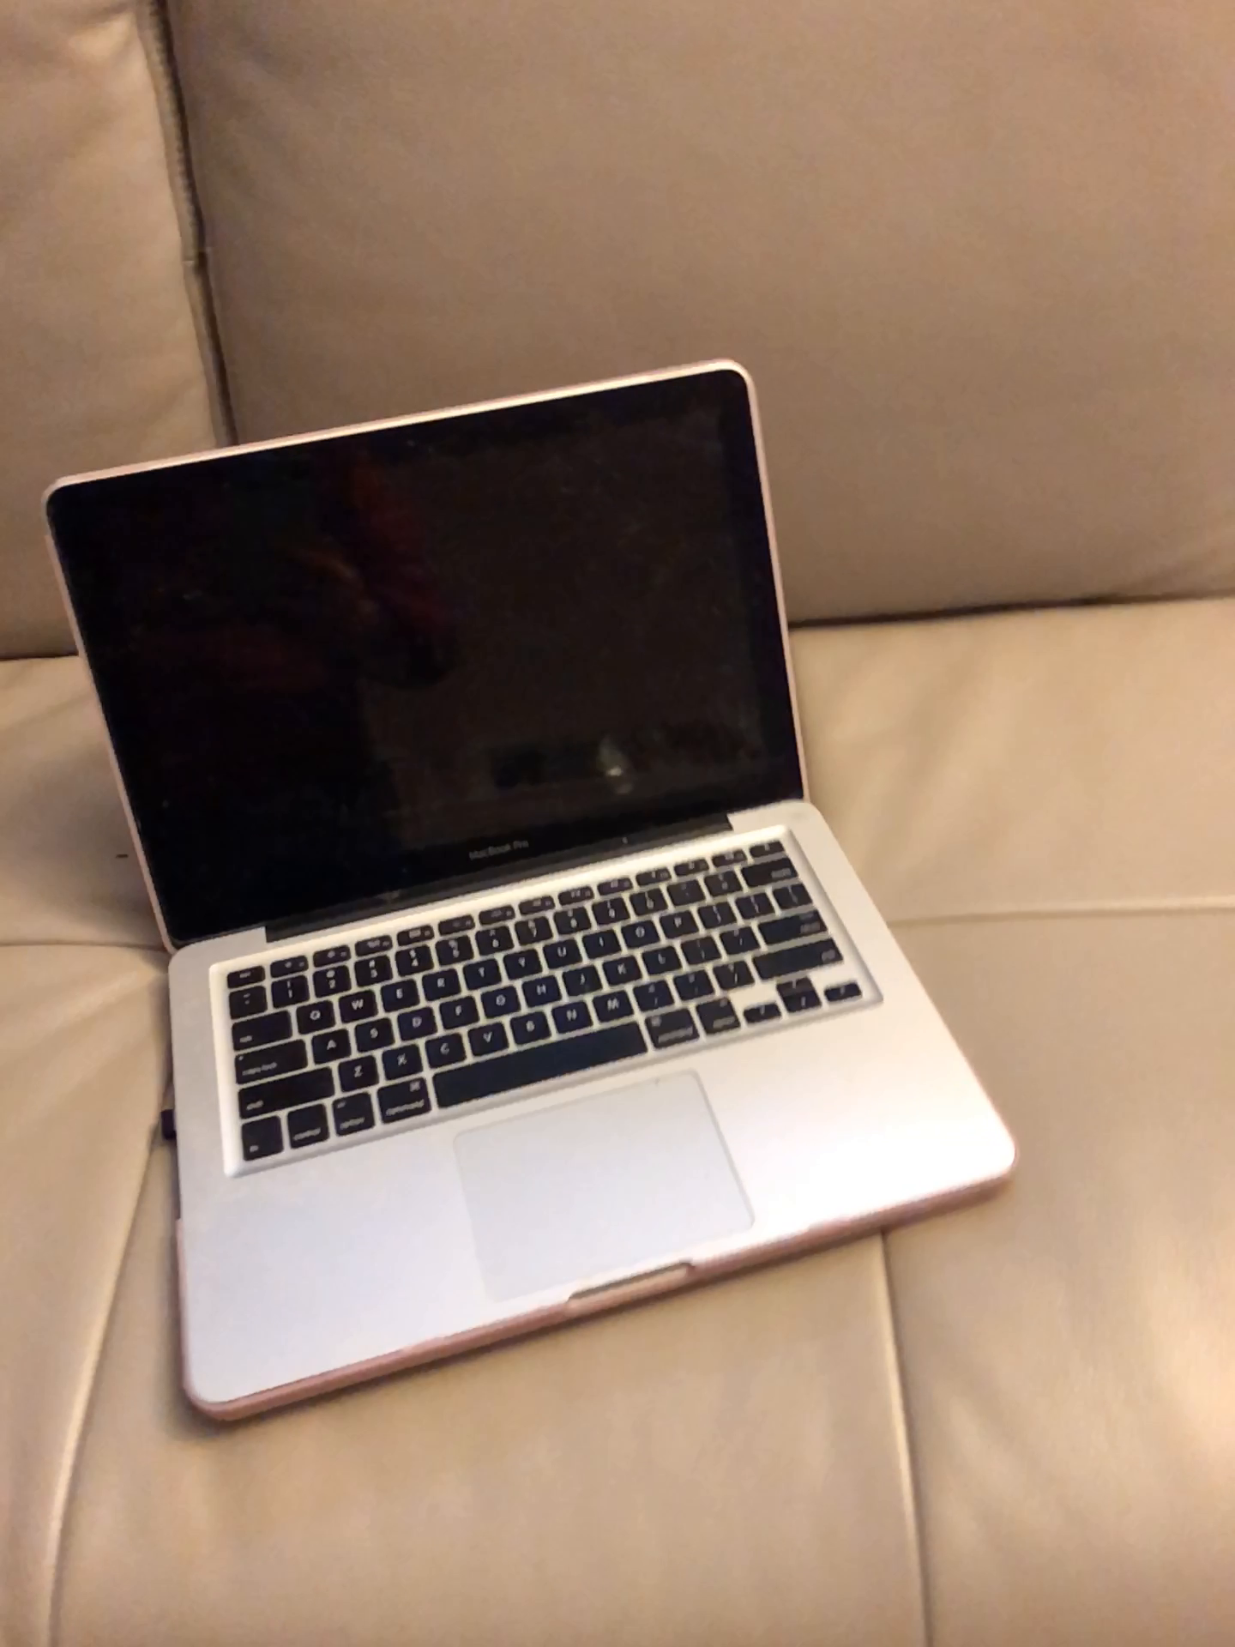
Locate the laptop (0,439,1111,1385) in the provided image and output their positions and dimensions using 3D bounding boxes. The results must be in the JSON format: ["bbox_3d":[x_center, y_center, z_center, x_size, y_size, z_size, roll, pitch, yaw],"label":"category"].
[{"bbox_3d":[-0.042,0.009,0.544,0.305,0.177,0.307,-13,42,-9],"label":"laptop"}]
